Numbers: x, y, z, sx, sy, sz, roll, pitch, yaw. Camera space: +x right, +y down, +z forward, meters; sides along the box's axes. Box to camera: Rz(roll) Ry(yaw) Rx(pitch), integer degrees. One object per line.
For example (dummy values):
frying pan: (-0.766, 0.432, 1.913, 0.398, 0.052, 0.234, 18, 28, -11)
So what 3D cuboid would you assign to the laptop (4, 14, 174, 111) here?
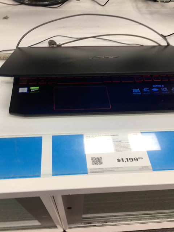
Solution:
laptop: (0.054, -0.126, 0.508, 0.417, 0.101, 0.226, -2, 51, -2)
